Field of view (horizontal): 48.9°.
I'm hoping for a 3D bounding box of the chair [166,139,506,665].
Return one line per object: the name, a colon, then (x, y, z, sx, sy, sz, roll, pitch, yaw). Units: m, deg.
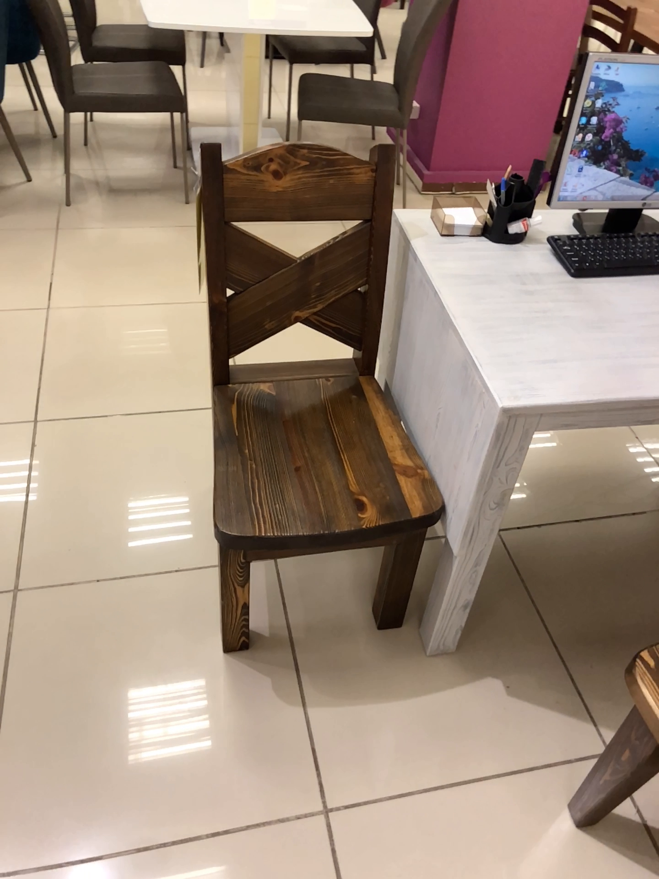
chair: (-0.062, -0.063, 1.505, 0.450, 0.895, 0.573, -5, 43, -13)
